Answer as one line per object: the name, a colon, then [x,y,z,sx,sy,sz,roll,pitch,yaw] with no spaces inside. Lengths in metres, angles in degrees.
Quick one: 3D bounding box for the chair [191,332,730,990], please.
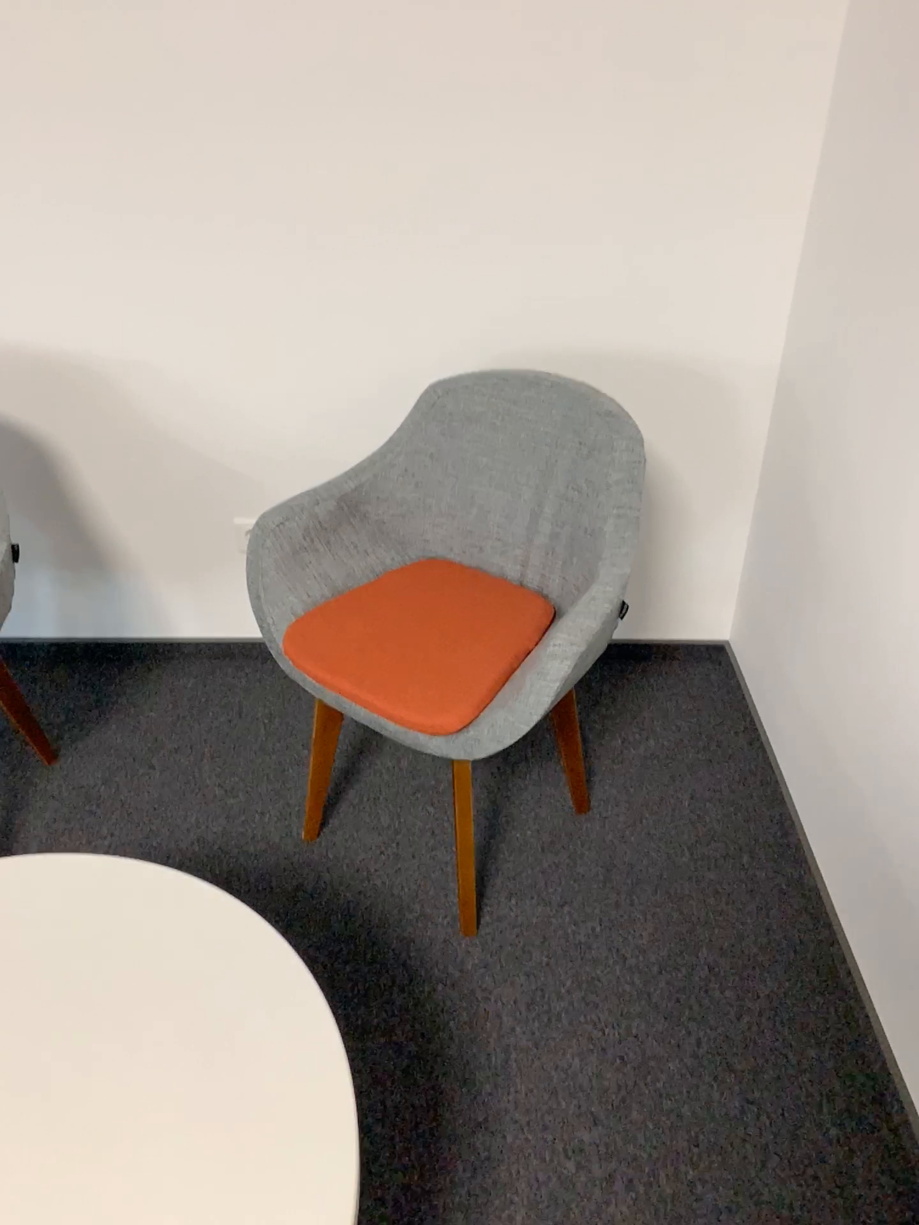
chair: [0.003,0.050,1.628,0.631,0.835,0.502,23,39,31]
